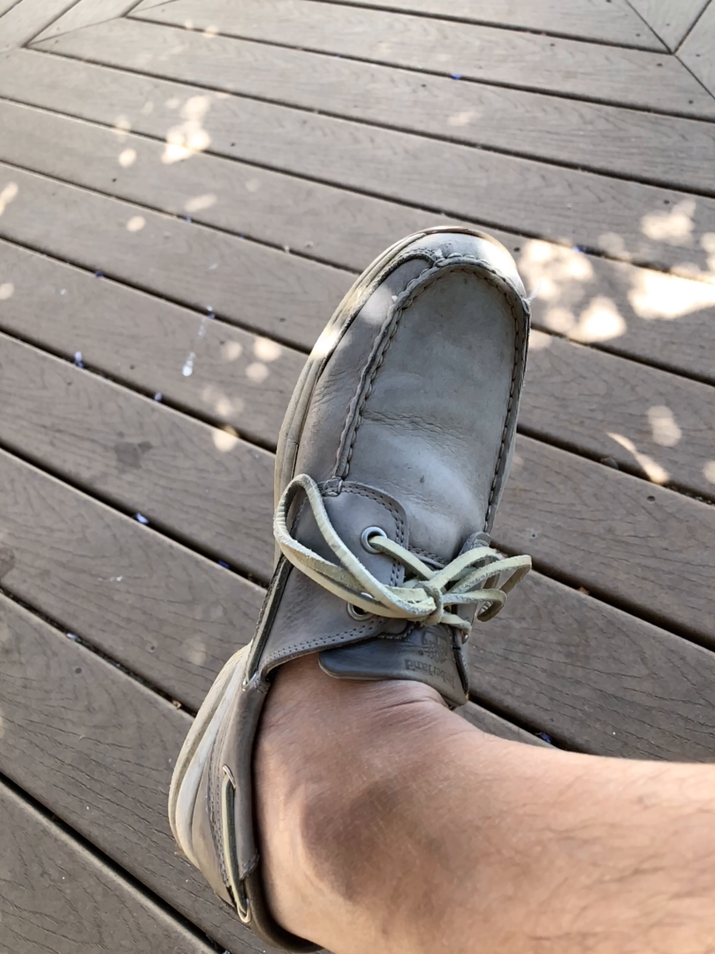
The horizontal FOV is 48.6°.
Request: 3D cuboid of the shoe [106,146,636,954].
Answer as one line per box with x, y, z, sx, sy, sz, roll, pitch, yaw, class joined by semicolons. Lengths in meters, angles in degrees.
0.010;0.045;0.346;0.083;0.116;0.326;10;81;57;shoe
